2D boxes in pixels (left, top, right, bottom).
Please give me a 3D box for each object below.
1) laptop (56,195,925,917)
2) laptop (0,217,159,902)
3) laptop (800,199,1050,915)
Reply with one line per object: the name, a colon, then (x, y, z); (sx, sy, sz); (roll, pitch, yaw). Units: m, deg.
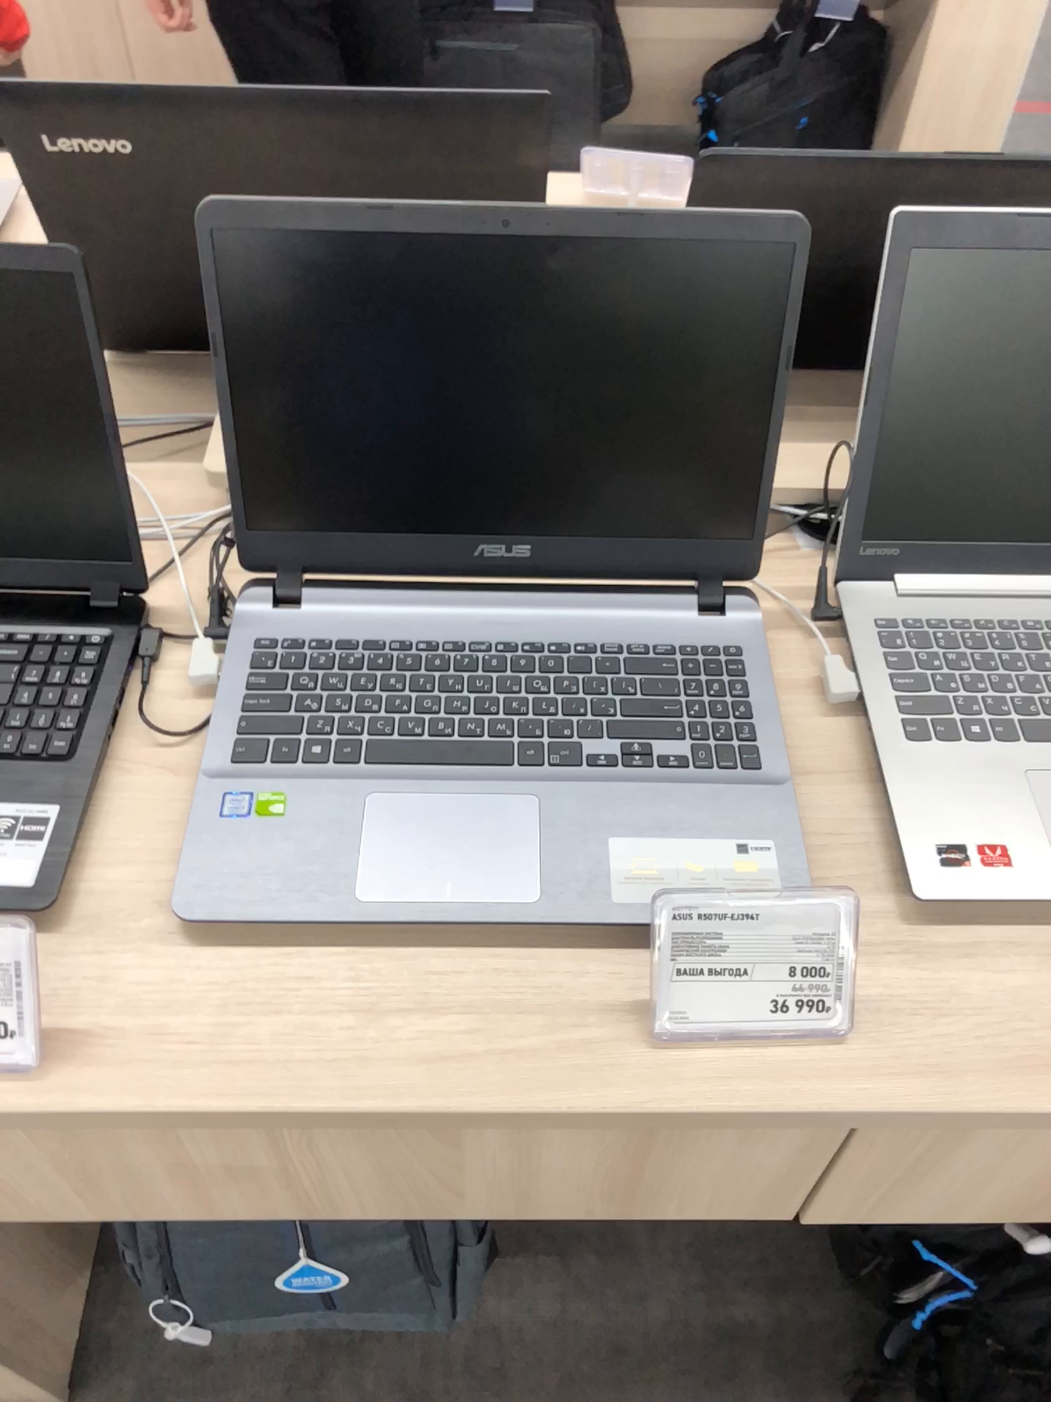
laptop: (-0.017, -0.084, 0.649); (0.345, 0.226, 0.330); (1, 51, -2)
laptop: (-0.429, -0.078, 0.634); (0.332, 0.222, 0.292); (2, 50, -1)
laptop: (0.407, -0.087, 0.673); (0.370, 0.220, 0.333); (0, 52, -3)
